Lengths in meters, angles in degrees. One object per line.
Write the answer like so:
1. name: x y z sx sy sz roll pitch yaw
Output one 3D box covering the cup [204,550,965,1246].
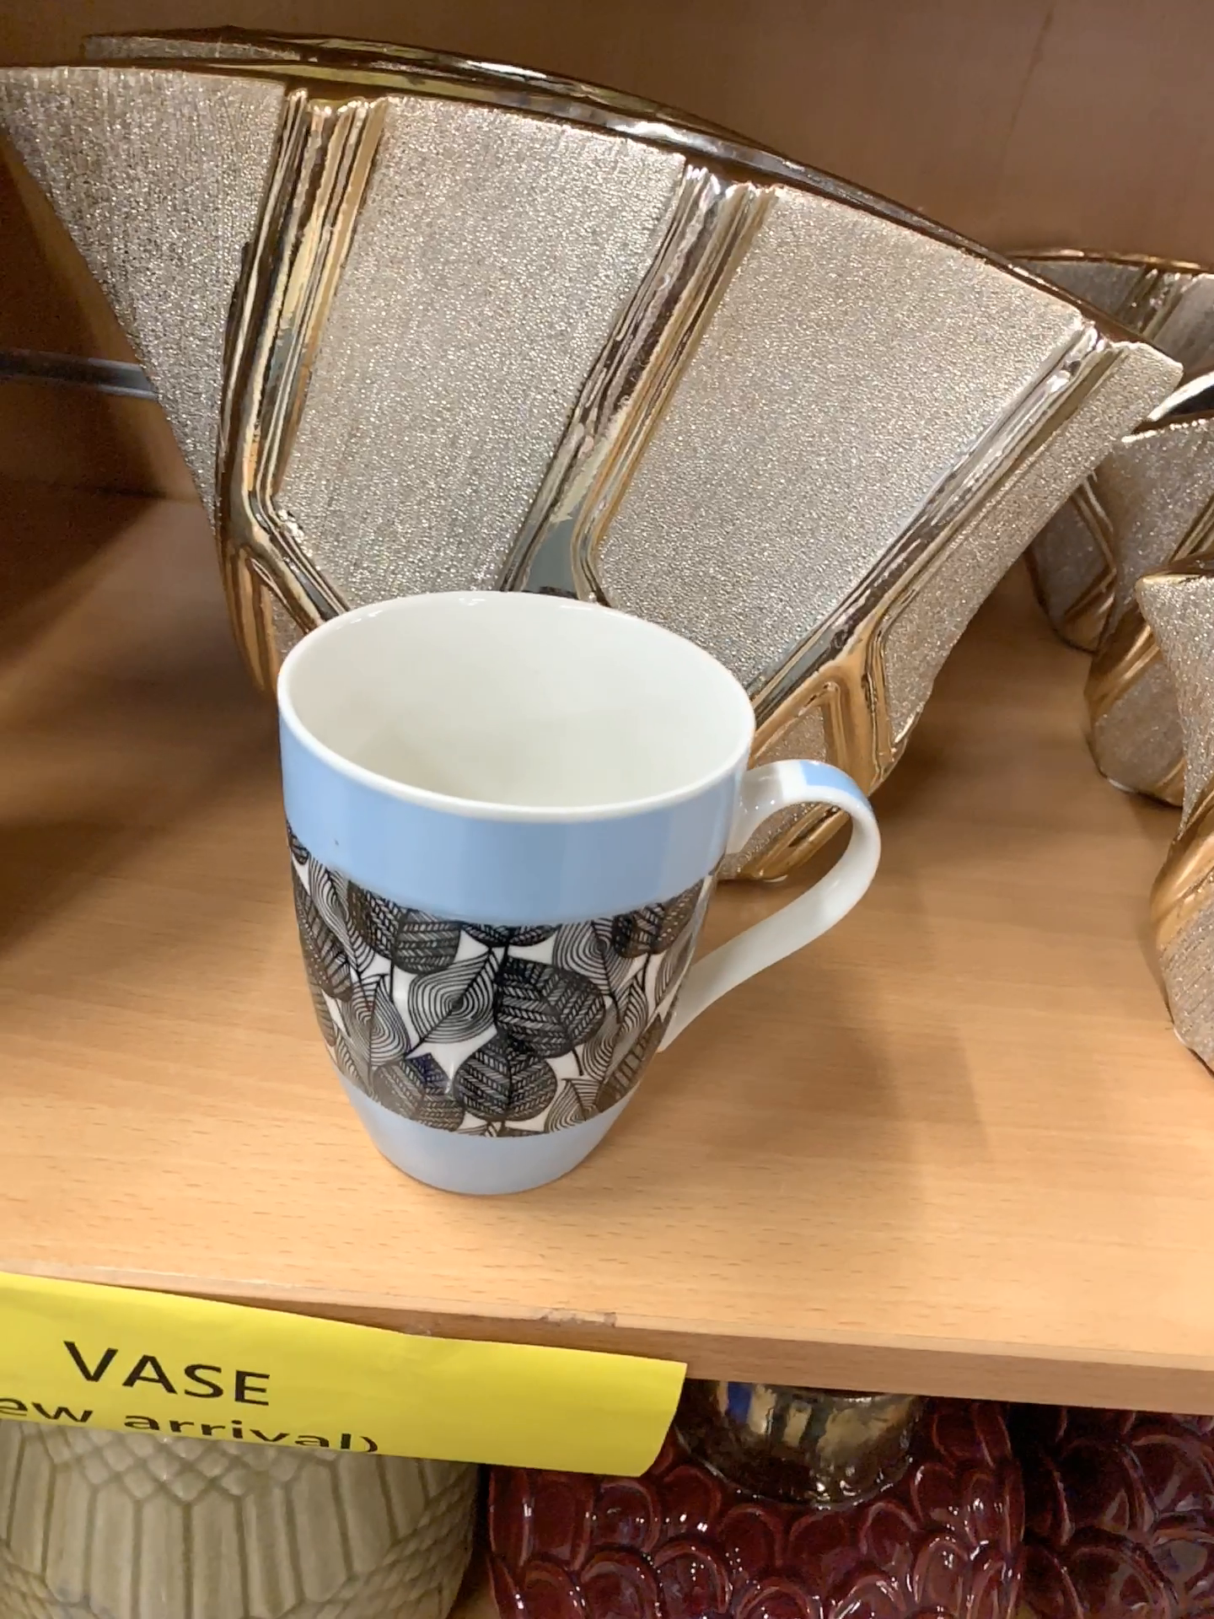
1. cup: -0.013 0.010 0.231 0.110 0.090 0.080 -2 31 -16
